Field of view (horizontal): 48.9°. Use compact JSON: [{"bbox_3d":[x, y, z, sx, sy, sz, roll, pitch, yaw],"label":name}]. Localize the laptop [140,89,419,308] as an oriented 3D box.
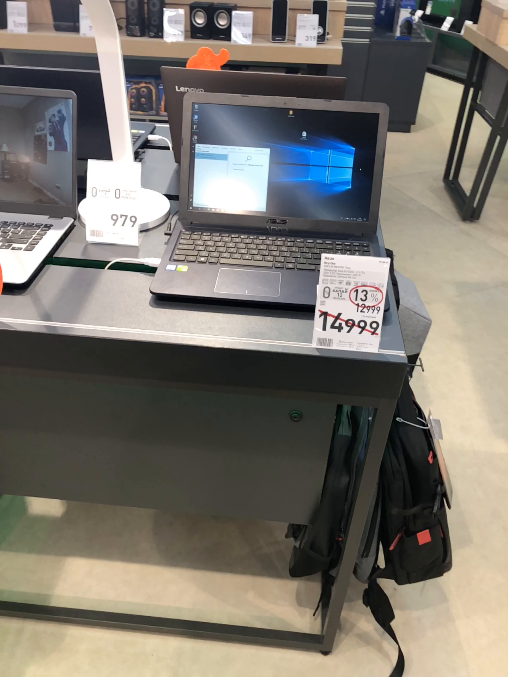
[{"bbox_3d":[0.044,-0.261,0.967,0.380,0.209,0.372,4,38,3],"label":"laptop"}]
